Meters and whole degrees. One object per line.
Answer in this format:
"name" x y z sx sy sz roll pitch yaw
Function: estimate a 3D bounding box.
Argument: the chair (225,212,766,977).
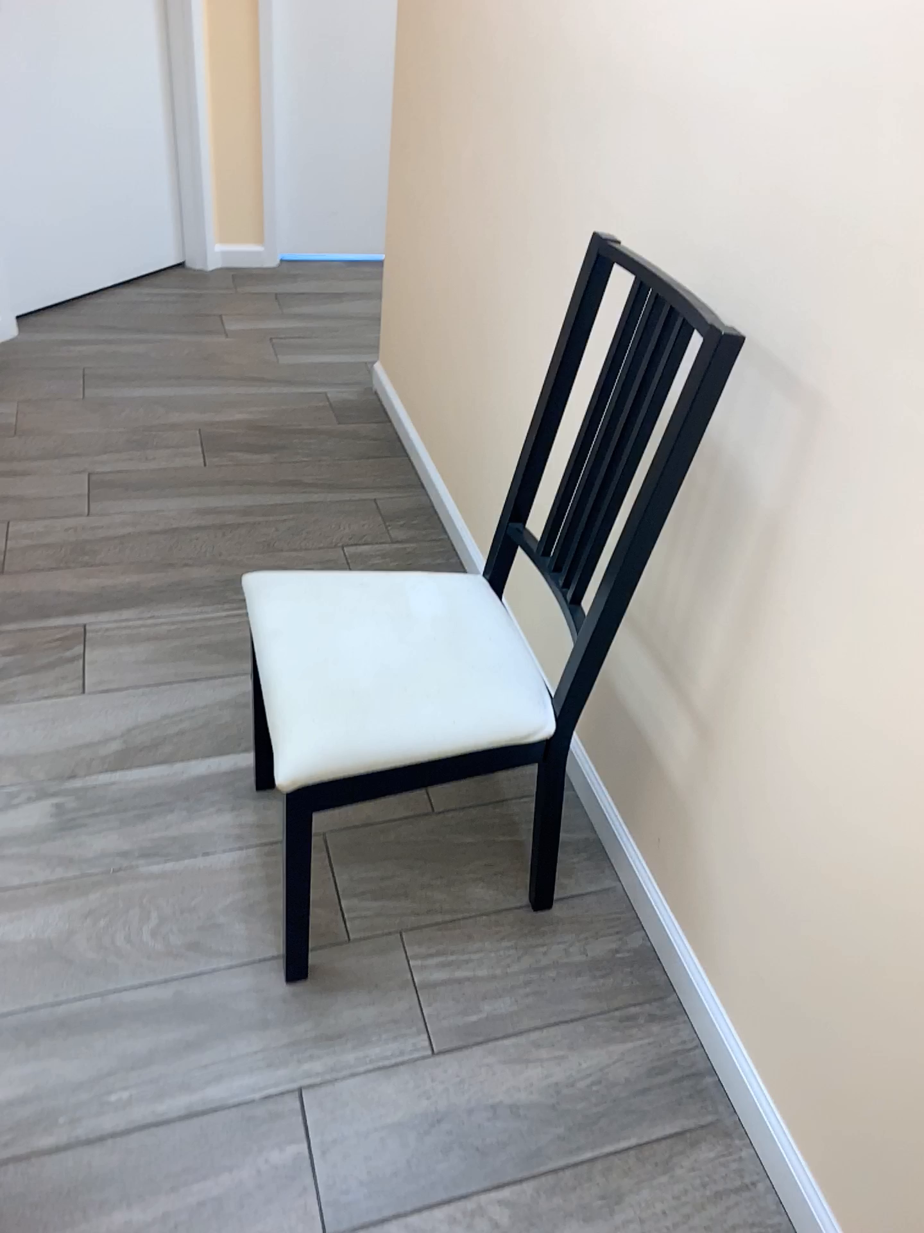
"chair" -0.039 -0.003 1.340 0.498 0.962 0.441 -6 39 -17
